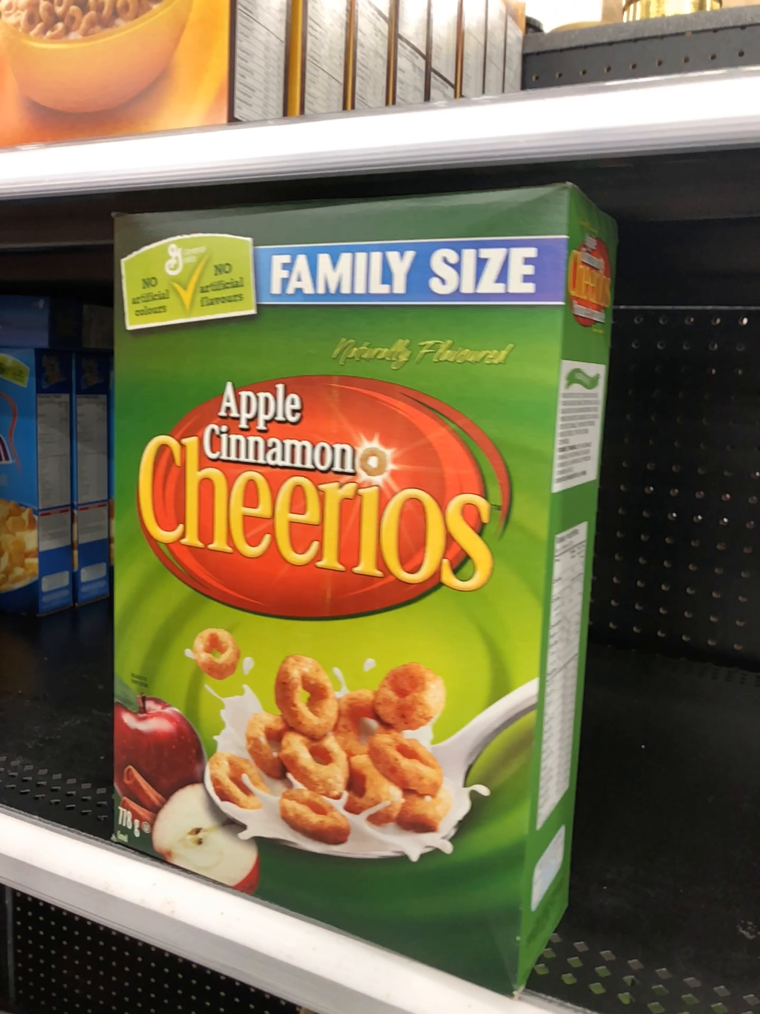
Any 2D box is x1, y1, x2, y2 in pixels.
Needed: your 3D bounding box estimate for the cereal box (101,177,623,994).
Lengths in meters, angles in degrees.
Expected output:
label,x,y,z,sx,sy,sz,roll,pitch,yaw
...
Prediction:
label,x,y,z,sx,sy,sz,roll,pitch,yaw
cereal box,-0.021,0.024,0.421,0.240,0.329,0.080,6,8,27
